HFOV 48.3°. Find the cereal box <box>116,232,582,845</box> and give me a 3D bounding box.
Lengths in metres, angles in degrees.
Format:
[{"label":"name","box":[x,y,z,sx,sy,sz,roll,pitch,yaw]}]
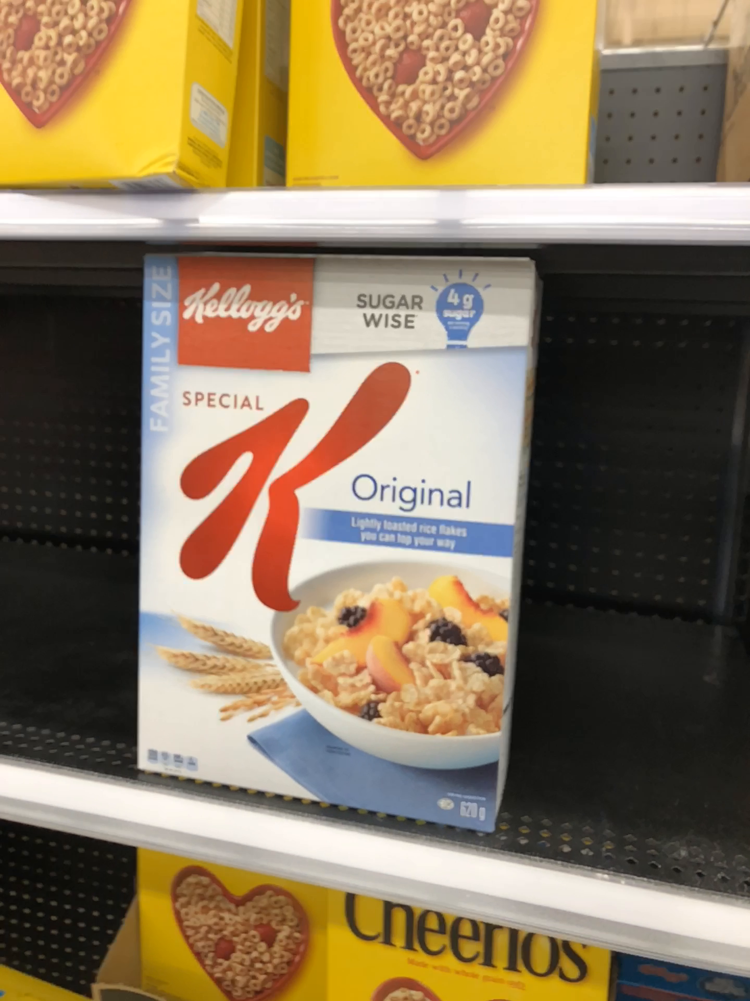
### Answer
[{"label":"cereal box","box":[-0.020,0.014,0.512,0.260,0.329,0.080,5,9,13]}]
